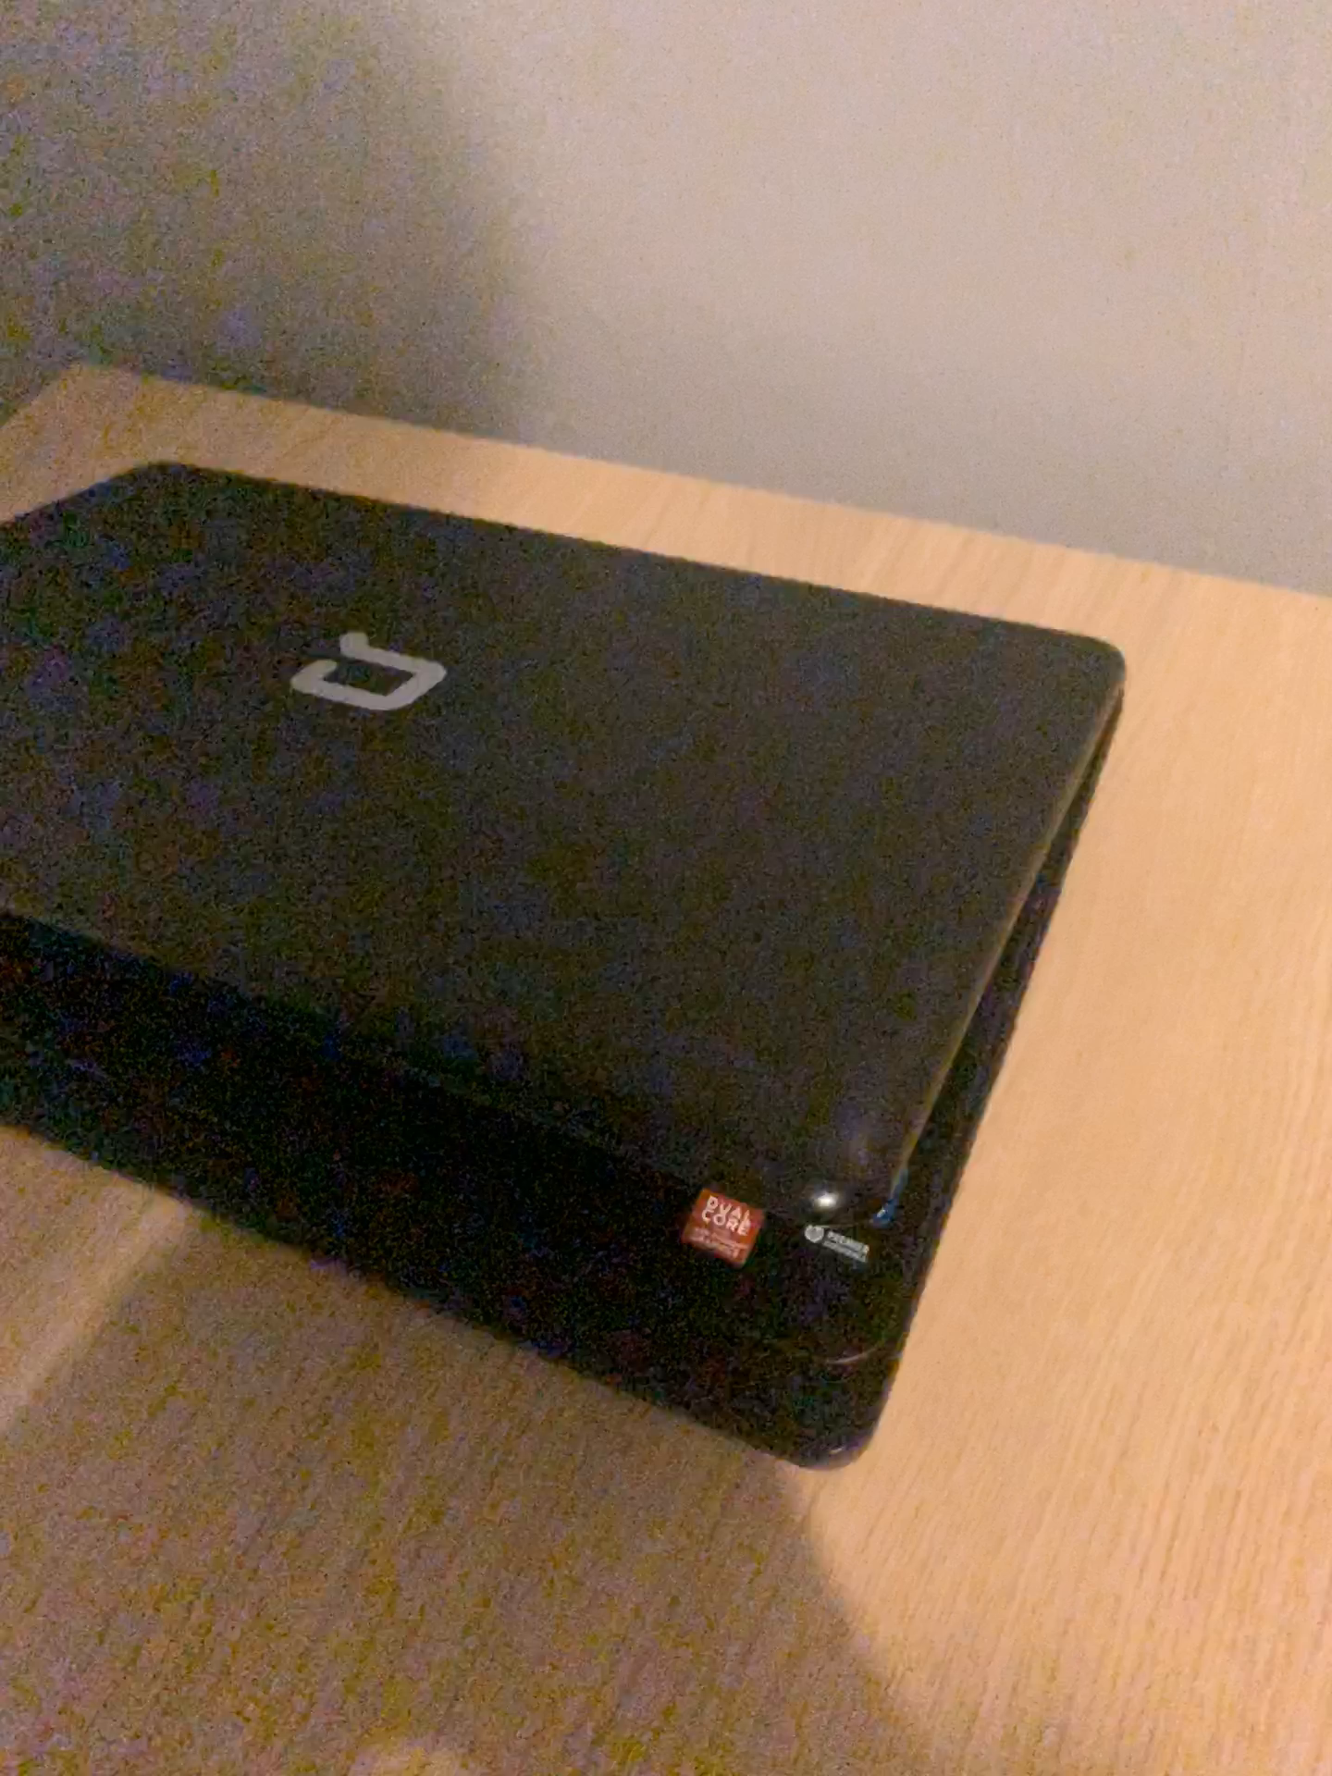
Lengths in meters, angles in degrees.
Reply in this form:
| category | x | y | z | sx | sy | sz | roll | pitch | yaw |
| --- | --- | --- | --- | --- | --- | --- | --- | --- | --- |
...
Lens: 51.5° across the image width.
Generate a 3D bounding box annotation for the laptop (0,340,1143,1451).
| category | x | y | z | sx | sy | sz | roll | pitch | yaw |
| --- | --- | --- | --- | --- | --- | --- | --- | --- | --- |
| laptop | -0.090 | -0.036 | 0.386 | 0.374 | 0.064 | 0.224 | 16 | 60 | 21 |
